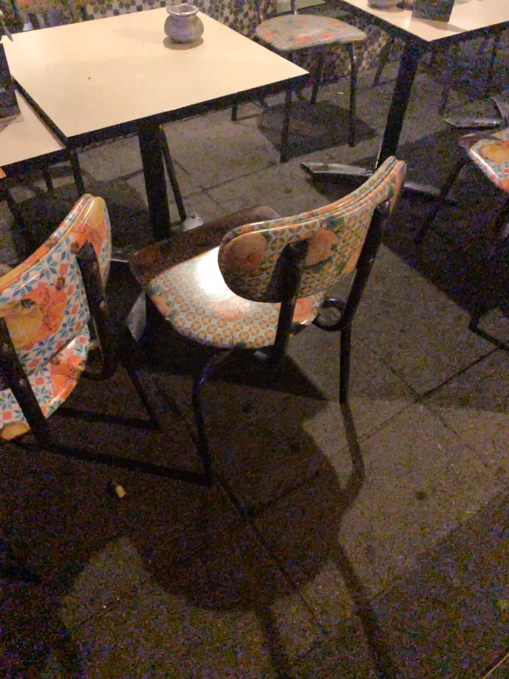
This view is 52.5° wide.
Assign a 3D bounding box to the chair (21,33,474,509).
[{"bbox_3d":[-0.042,-0.140,1.128,0.522,0.694,0.573,-28,57,-23],"label":"chair"}]
